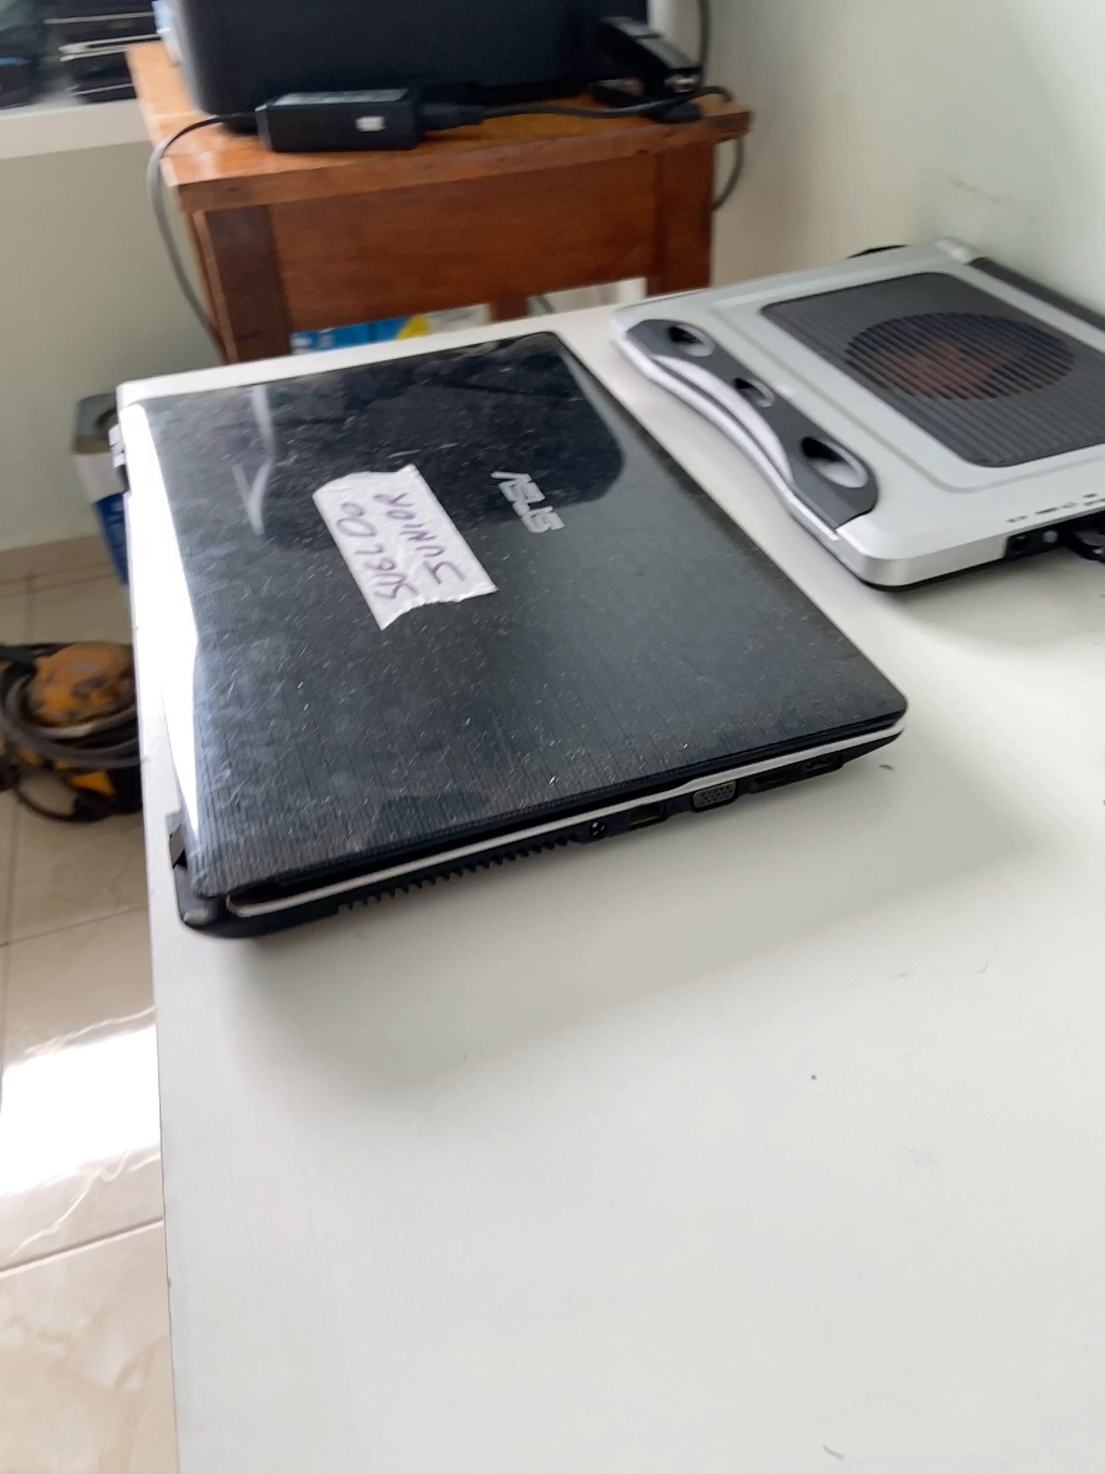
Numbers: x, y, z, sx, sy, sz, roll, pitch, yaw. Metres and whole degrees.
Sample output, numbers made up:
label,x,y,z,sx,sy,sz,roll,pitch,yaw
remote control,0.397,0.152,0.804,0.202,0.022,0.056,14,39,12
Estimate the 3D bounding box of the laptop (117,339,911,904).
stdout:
label,x,y,z,sx,sy,sz,roll,pitch,yaw
laptop,-0.054,-0.089,0.485,0.237,0.001,0.364,-15,41,-13
